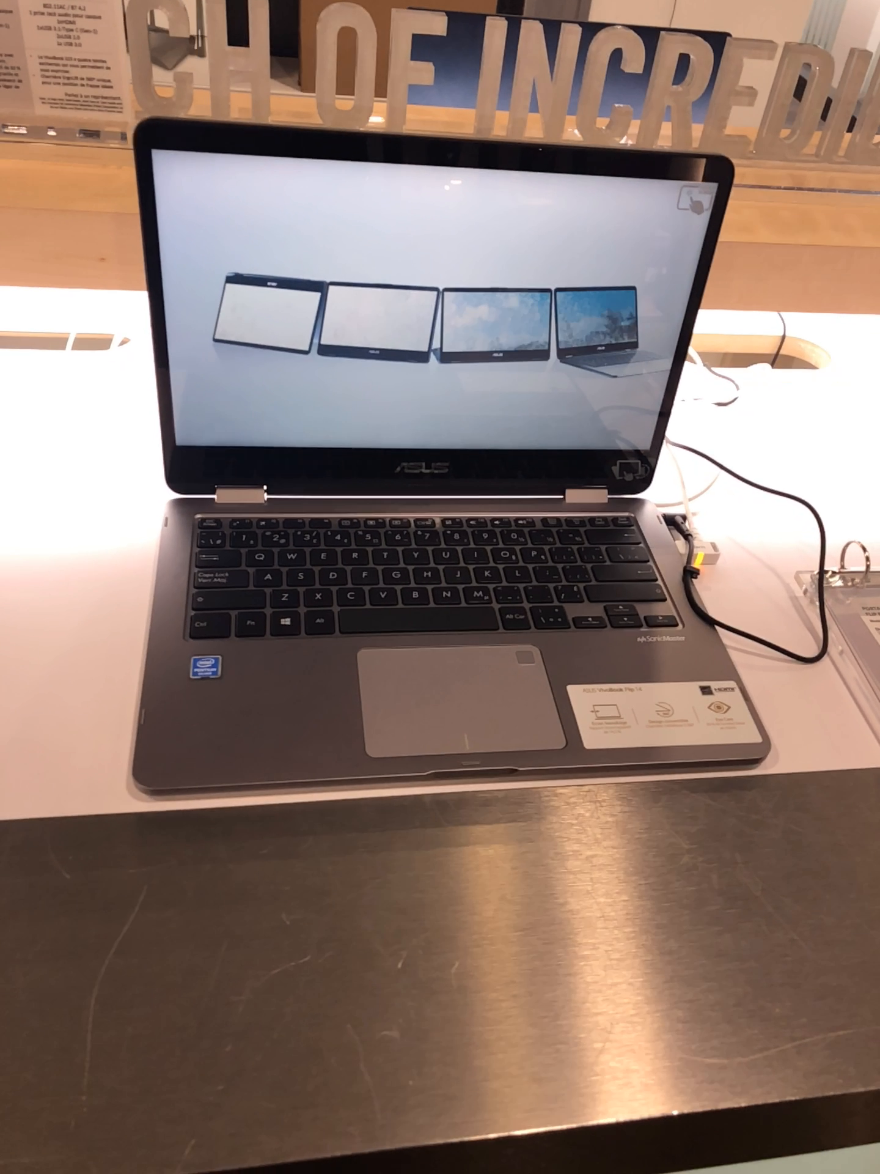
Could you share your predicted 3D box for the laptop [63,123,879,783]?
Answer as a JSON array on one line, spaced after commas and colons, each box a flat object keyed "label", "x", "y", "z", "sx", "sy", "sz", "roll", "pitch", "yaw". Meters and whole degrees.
[{"label": "laptop", "x": 0.012, "y": -0.064, "z": 0.459, "sx": 0.303, "sy": 0.211, "sz": 0.211, "roll": -1, "pitch": 43, "yaw": -9}]
